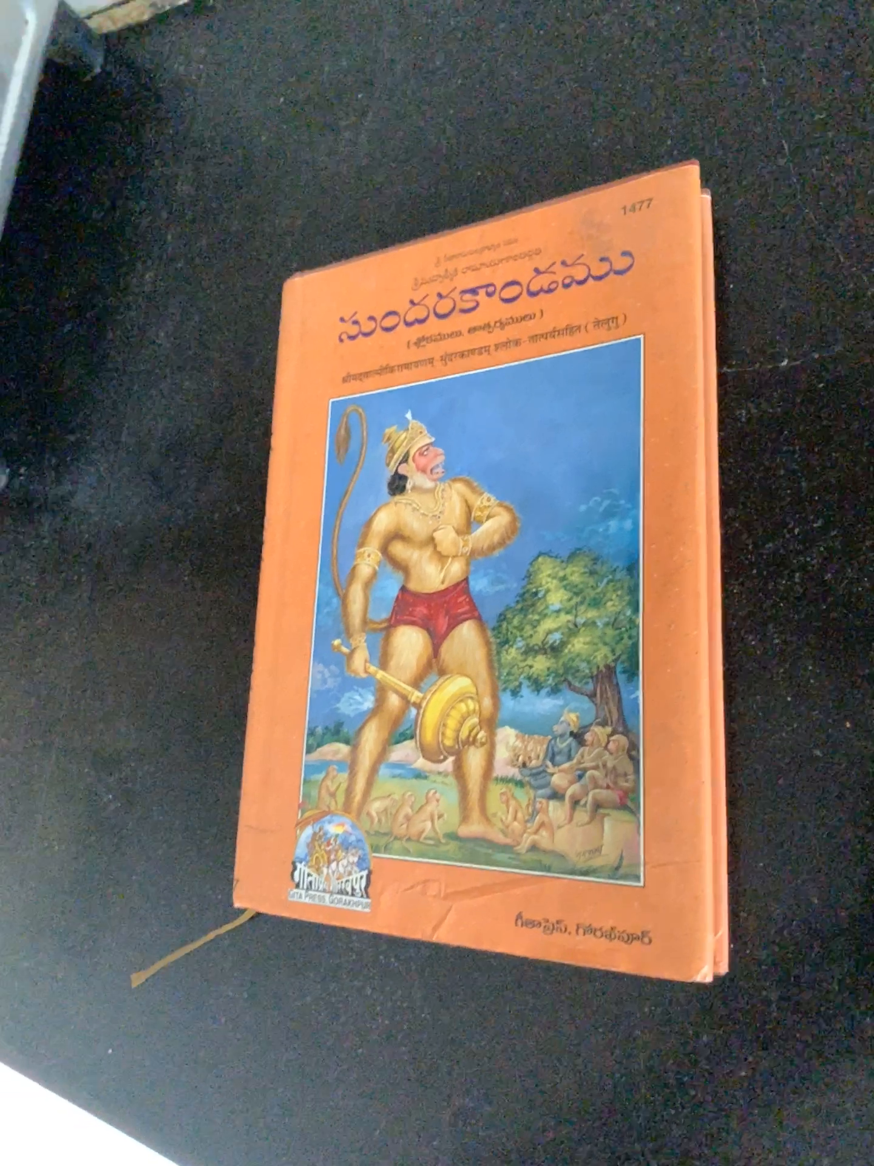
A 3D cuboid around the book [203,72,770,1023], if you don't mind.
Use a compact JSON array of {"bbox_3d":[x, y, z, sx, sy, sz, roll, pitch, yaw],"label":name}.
[{"bbox_3d":[0.015,-0.018,0.344,0.201,0.040,0.300,-3,77,30],"label":"book"}]
